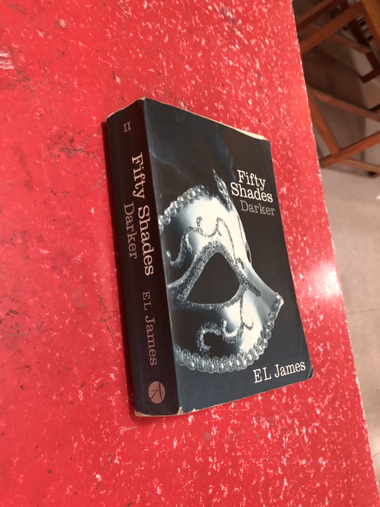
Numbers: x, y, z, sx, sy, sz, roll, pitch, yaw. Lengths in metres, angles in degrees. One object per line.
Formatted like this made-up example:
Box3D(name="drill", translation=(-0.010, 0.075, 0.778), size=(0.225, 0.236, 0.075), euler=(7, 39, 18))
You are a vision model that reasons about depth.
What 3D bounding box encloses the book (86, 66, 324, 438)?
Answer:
Box3D(name="book", translation=(0.013, -0.002, 0.297), size=(0.141, 0.050, 0.210), euler=(2, 74, -42))
